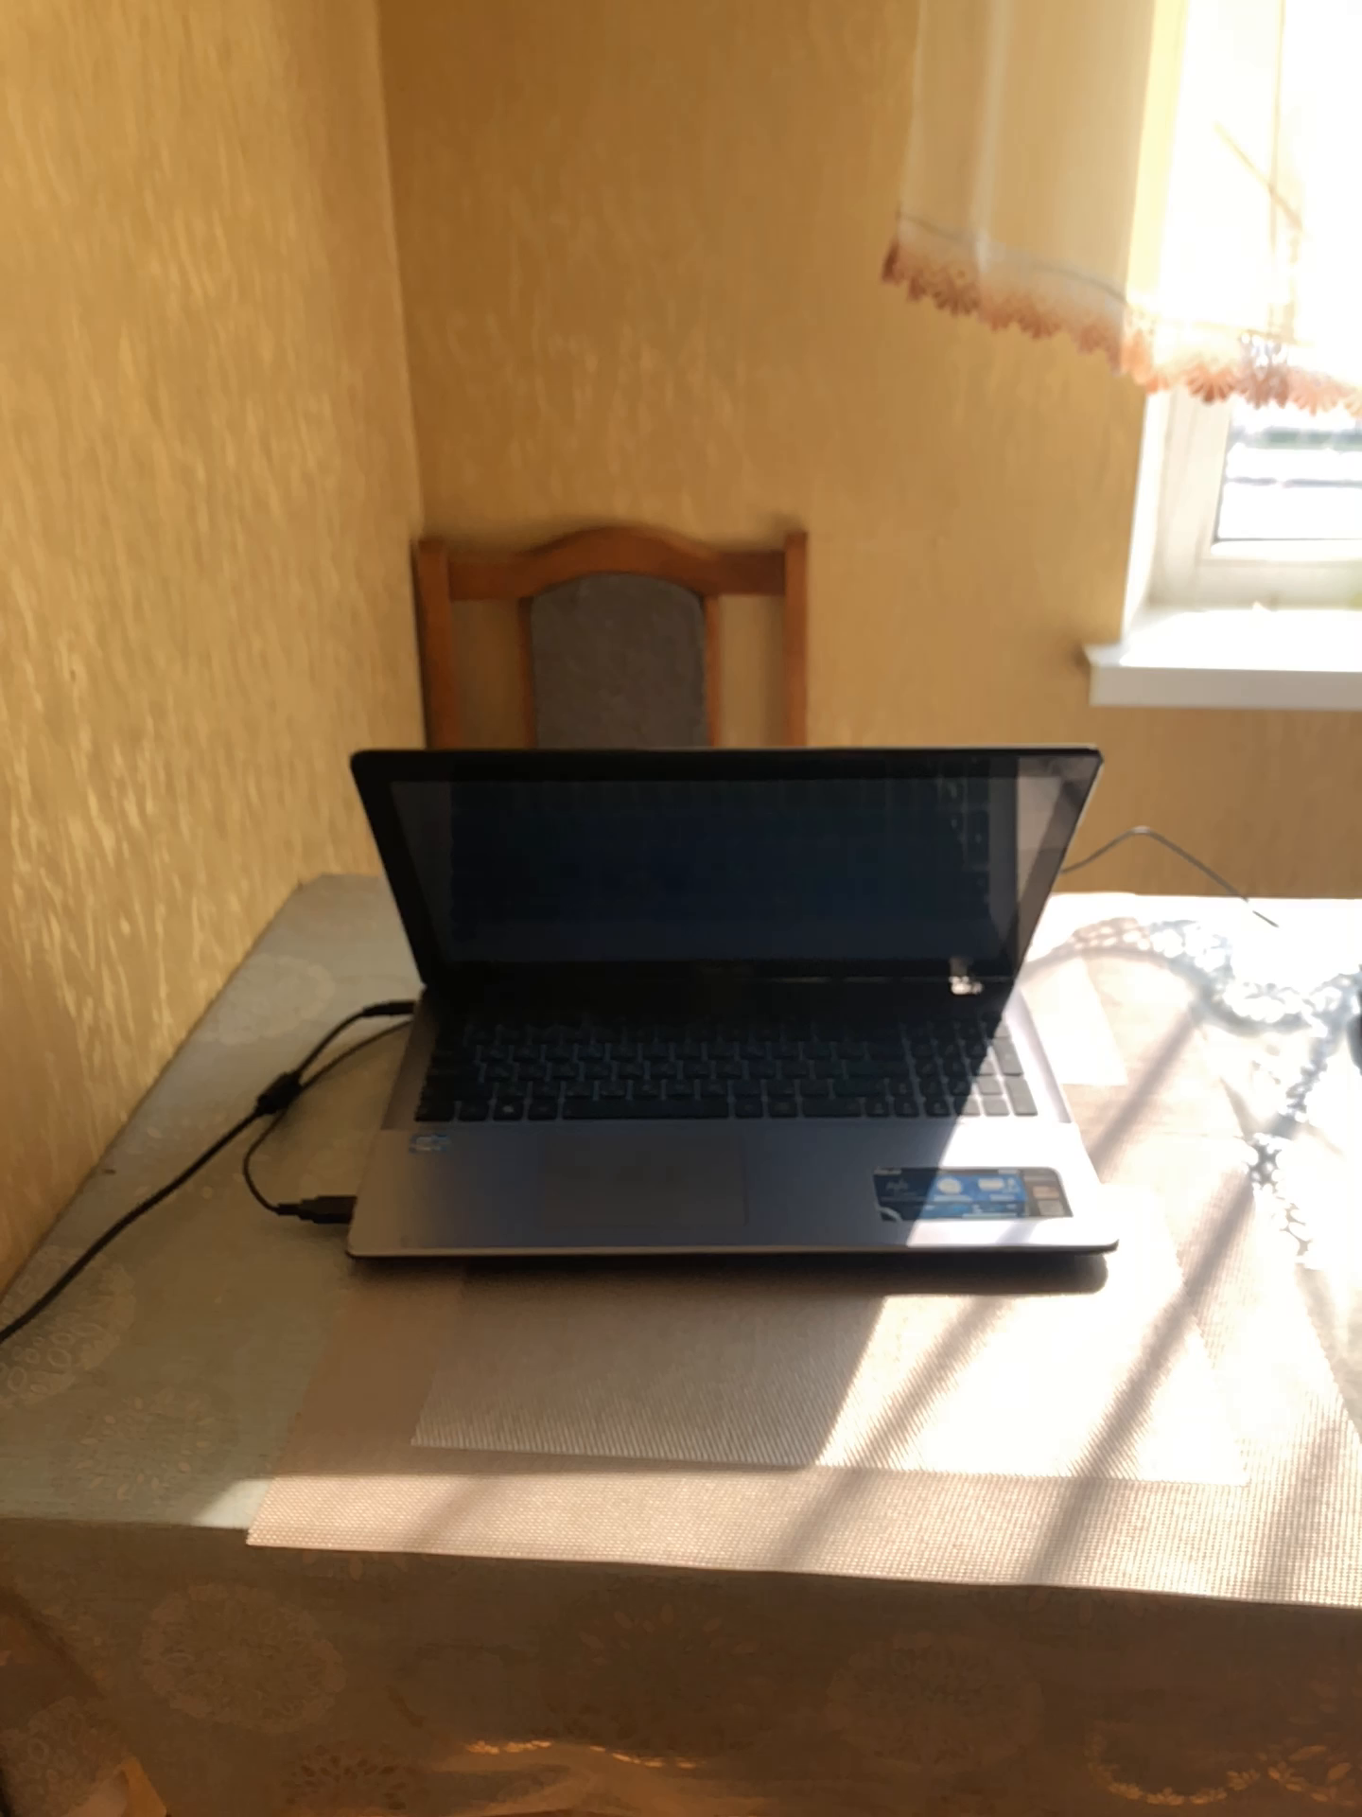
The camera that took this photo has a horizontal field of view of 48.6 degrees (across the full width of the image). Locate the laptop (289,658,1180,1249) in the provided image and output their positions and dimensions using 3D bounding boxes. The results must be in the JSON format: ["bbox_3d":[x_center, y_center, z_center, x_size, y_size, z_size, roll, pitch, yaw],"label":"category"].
[{"bbox_3d":[0.022,0.010,0.765,0.362,0.200,0.245,-1,26,0],"label":"laptop"}]
